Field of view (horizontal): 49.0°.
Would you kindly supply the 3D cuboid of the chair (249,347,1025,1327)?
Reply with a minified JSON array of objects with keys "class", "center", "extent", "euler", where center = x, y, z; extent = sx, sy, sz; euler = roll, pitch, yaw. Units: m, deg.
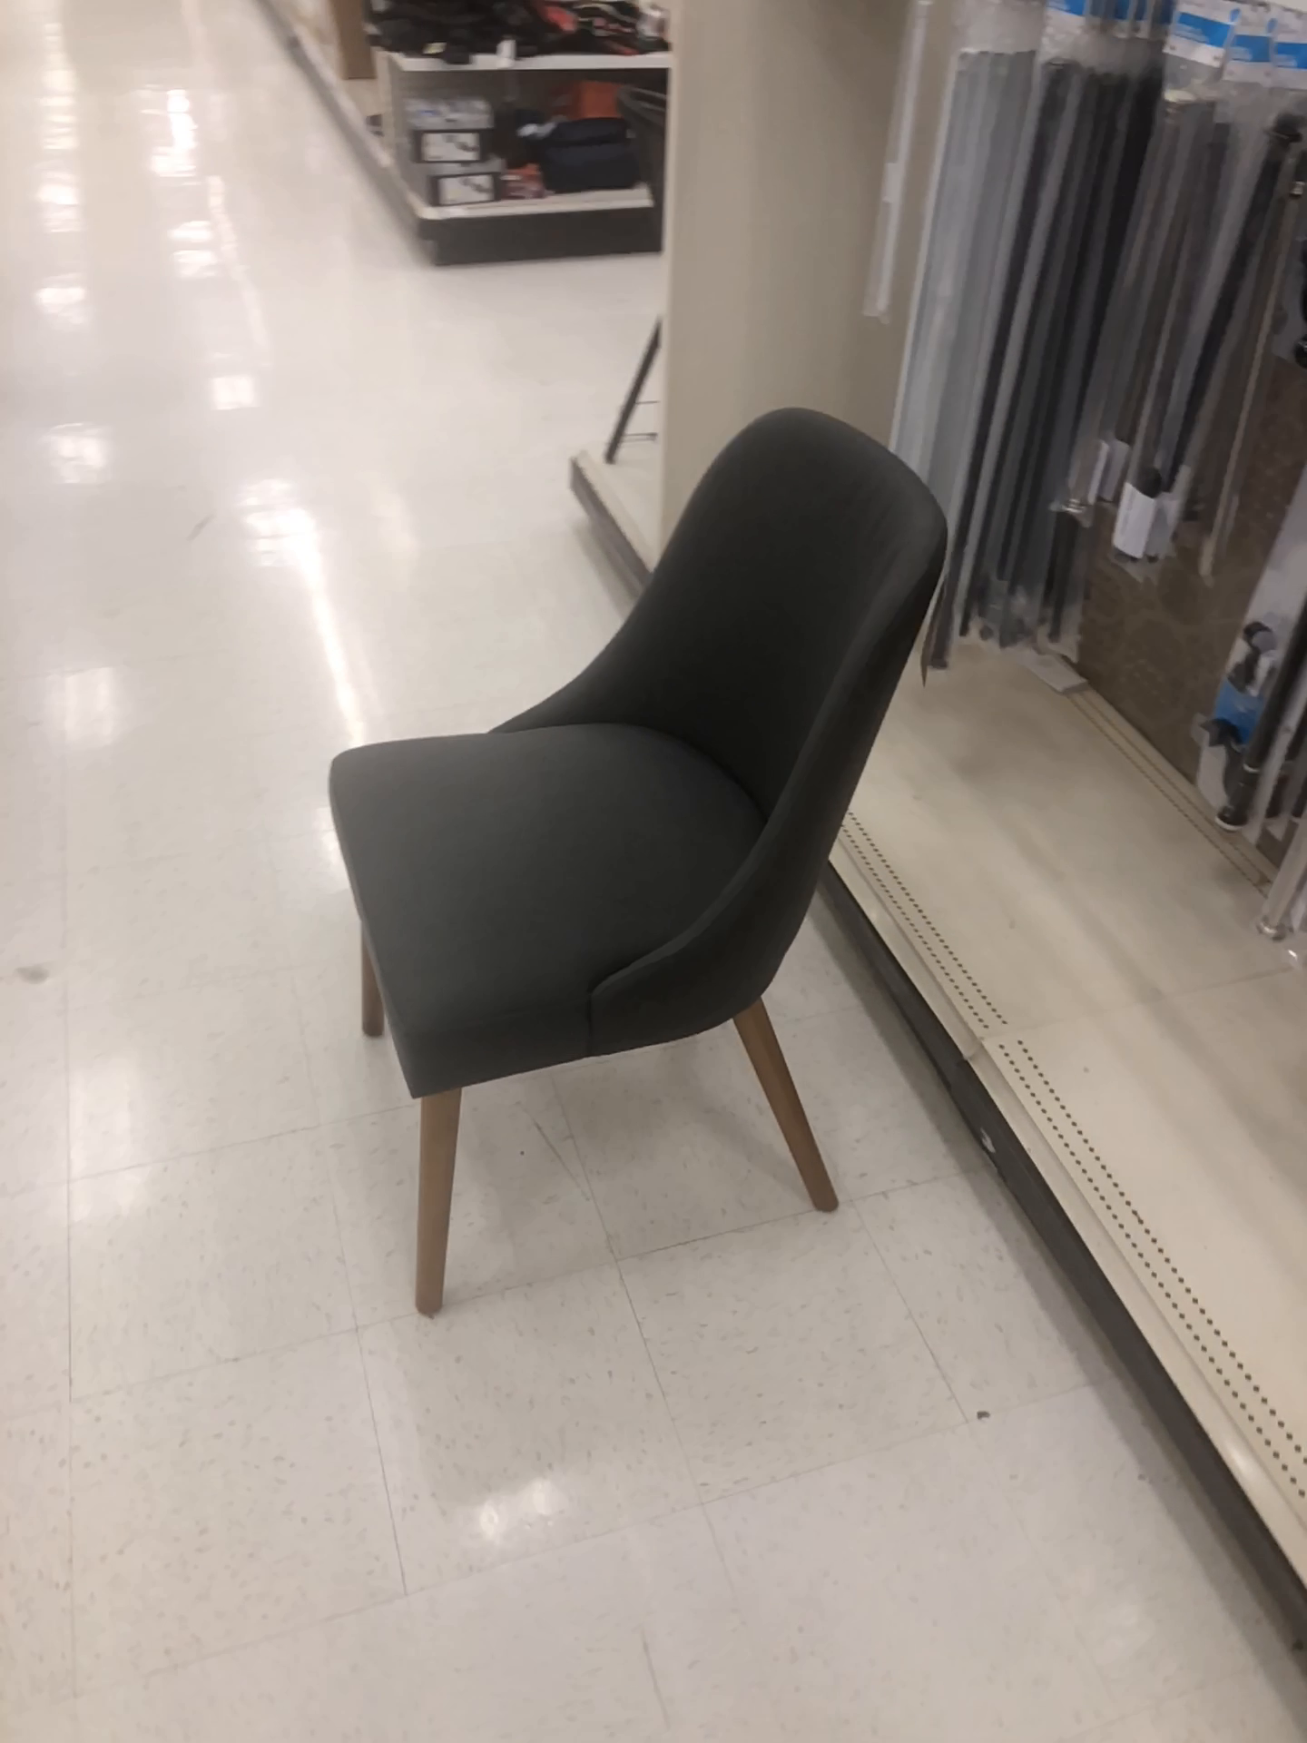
[{"class":"chair","center":[-0.064,-0.036,1.570],"extent":[0.587,0.859,0.516],"euler":[-9,40,-14]}]
